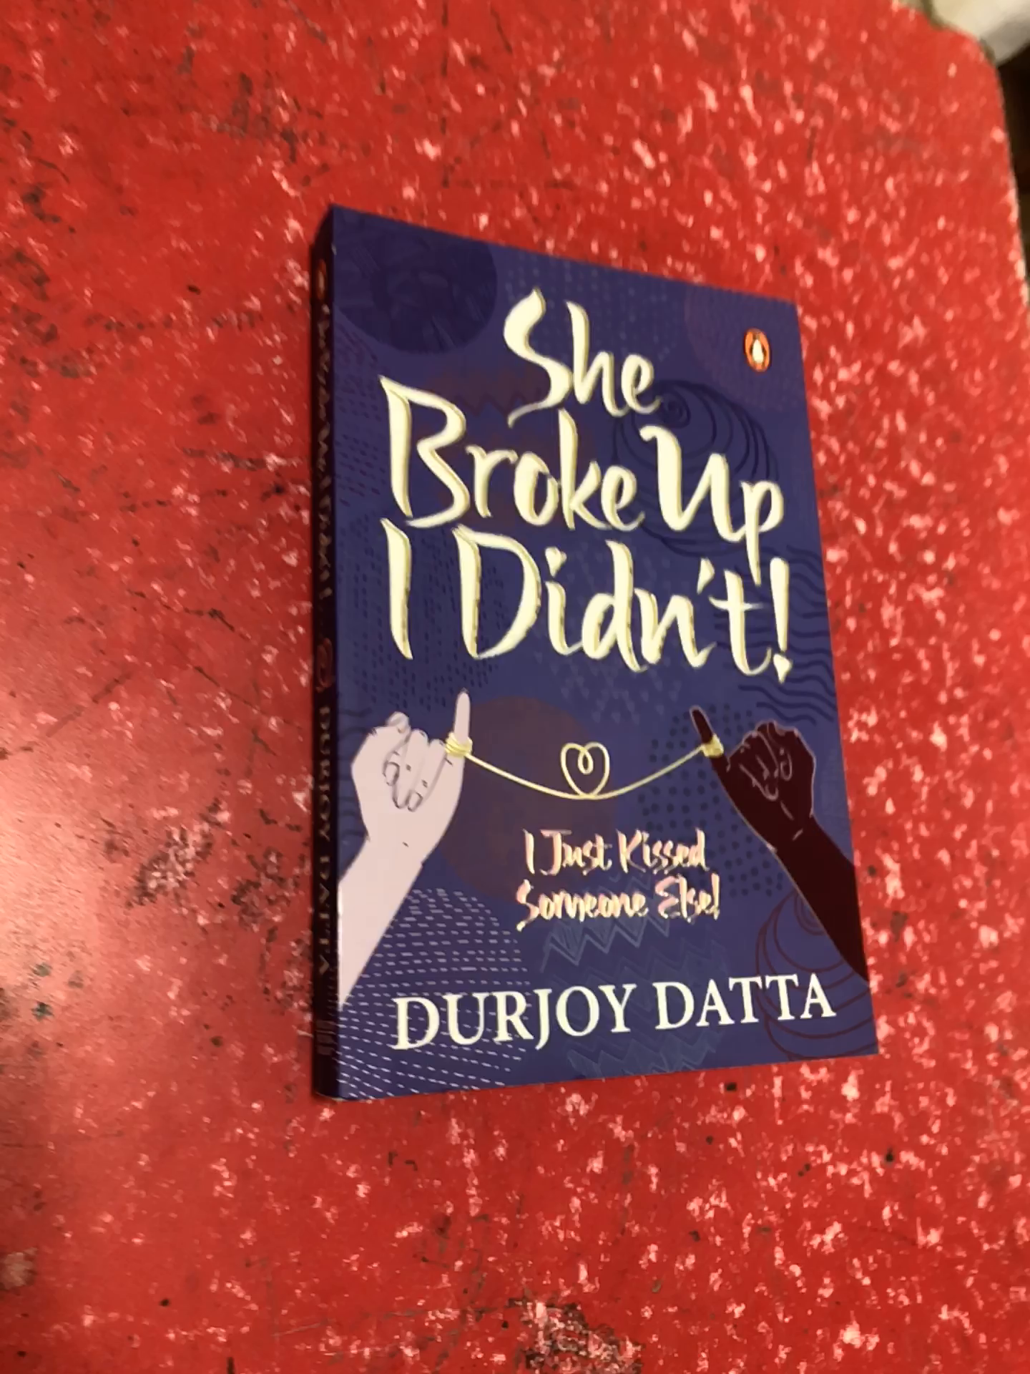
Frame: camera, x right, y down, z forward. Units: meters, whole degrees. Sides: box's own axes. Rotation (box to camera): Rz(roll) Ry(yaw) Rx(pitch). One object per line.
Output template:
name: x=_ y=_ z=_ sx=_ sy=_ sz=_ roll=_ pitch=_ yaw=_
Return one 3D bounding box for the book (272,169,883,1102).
book: x=0.012 y=-0.010 z=0.274 sx=0.130 sy=0.040 sz=0.190 roll=4 pitch=75 yaw=-27
